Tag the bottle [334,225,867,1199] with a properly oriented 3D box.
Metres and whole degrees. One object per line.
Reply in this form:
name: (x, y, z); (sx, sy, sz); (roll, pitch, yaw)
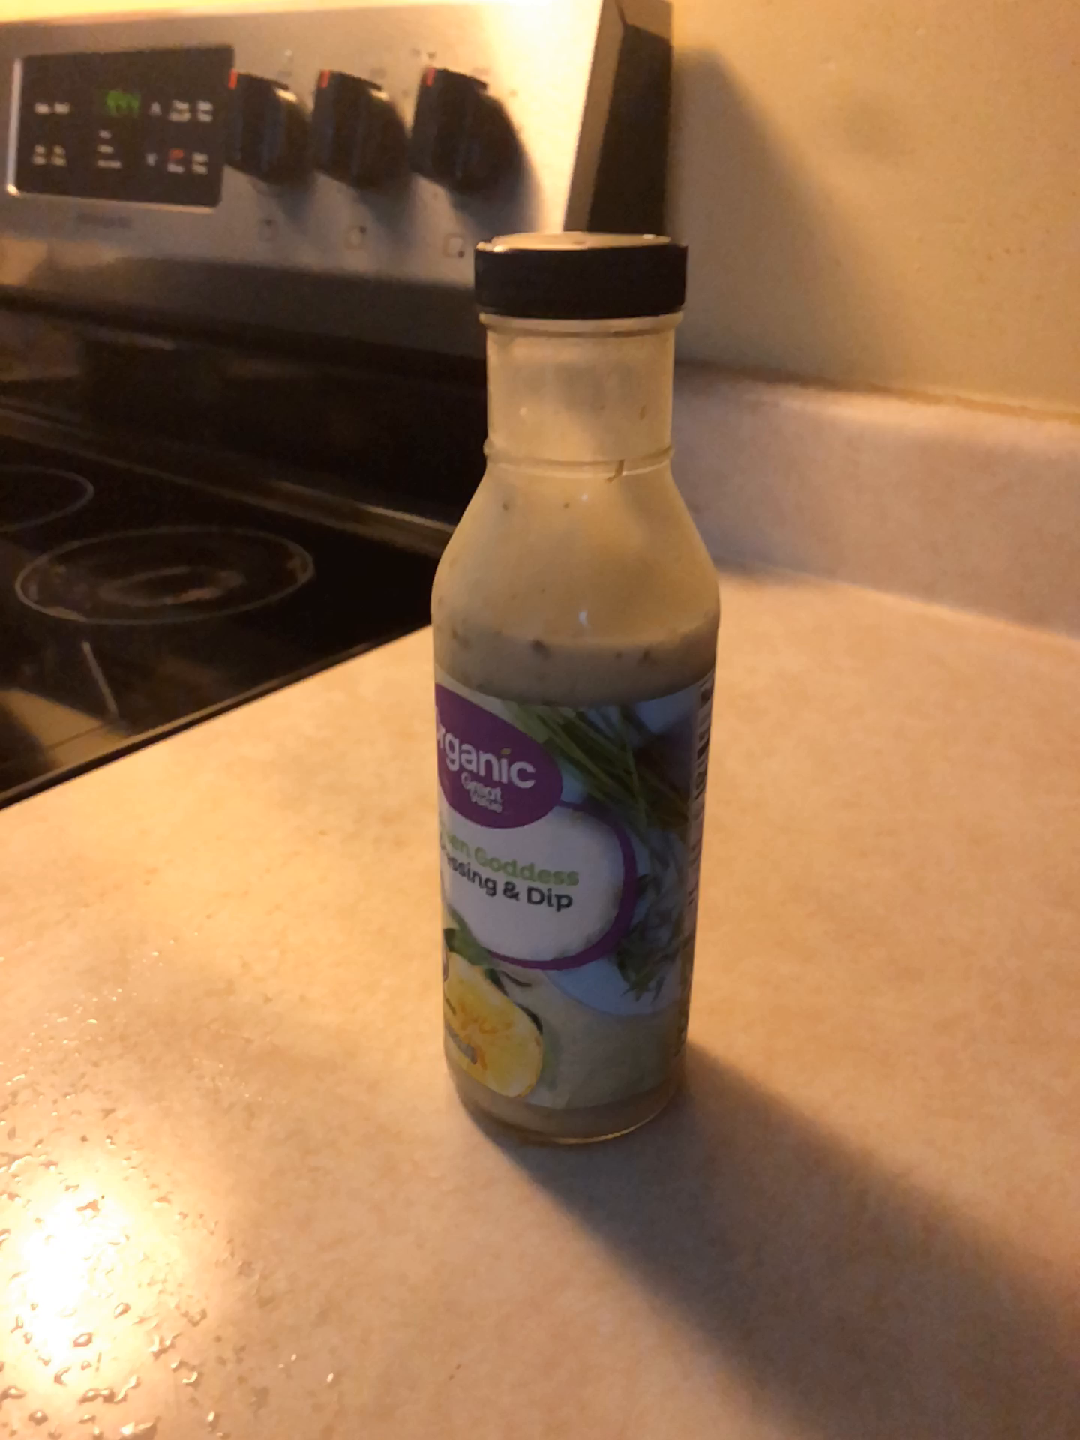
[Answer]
bottle: (0.009, -0.003, 0.265); (0.070, 0.189, 0.070); (1, 26, 0)
